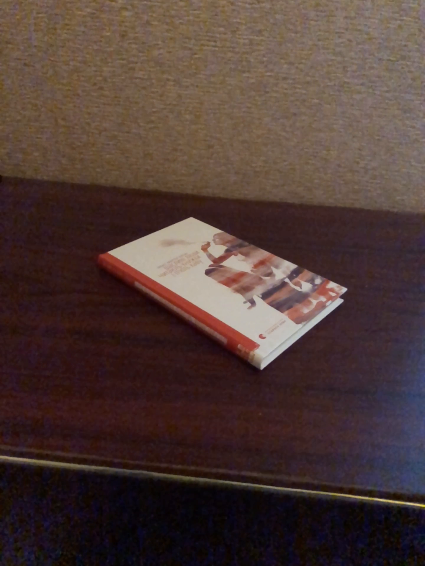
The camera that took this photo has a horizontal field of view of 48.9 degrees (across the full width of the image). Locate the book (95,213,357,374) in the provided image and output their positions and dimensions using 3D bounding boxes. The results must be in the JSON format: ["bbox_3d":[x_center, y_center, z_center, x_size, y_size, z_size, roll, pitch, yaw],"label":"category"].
[{"bbox_3d":[0.010,-0.007,0.488,0.228,0.020,0.151,28,40,32],"label":"book"}]
